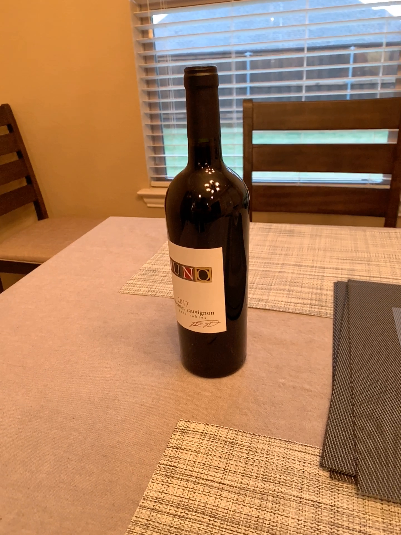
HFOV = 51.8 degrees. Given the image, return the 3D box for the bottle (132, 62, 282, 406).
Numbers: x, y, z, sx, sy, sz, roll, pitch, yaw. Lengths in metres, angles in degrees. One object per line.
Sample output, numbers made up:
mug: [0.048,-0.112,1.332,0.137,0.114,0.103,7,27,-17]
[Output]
bottle: [0.012,-0.027,0.396,0.090,0.299,0.084,-3,24,1]
